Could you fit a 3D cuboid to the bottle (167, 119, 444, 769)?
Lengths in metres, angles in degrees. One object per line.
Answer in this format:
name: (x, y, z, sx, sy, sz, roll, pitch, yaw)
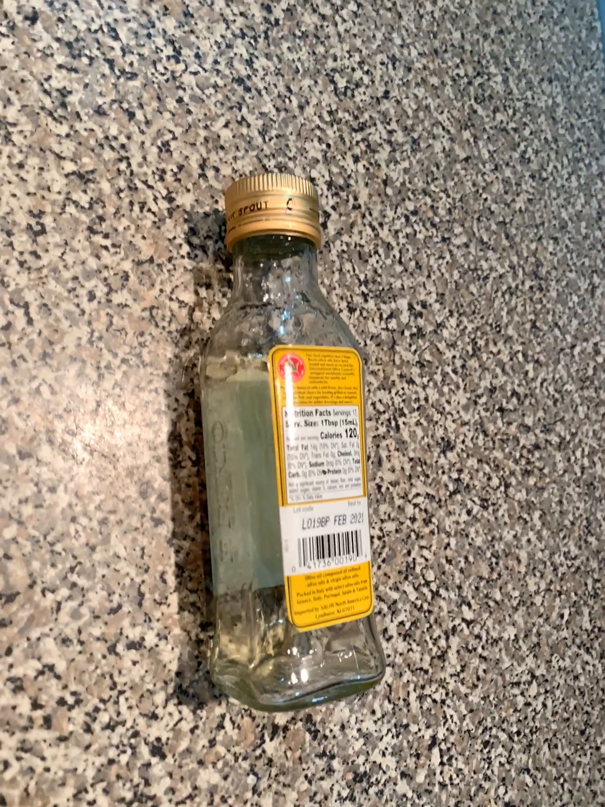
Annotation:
bottle: (-0.003, 0.010, 0.214, 0.060, 0.060, 0.180, 0, 83, -33)
